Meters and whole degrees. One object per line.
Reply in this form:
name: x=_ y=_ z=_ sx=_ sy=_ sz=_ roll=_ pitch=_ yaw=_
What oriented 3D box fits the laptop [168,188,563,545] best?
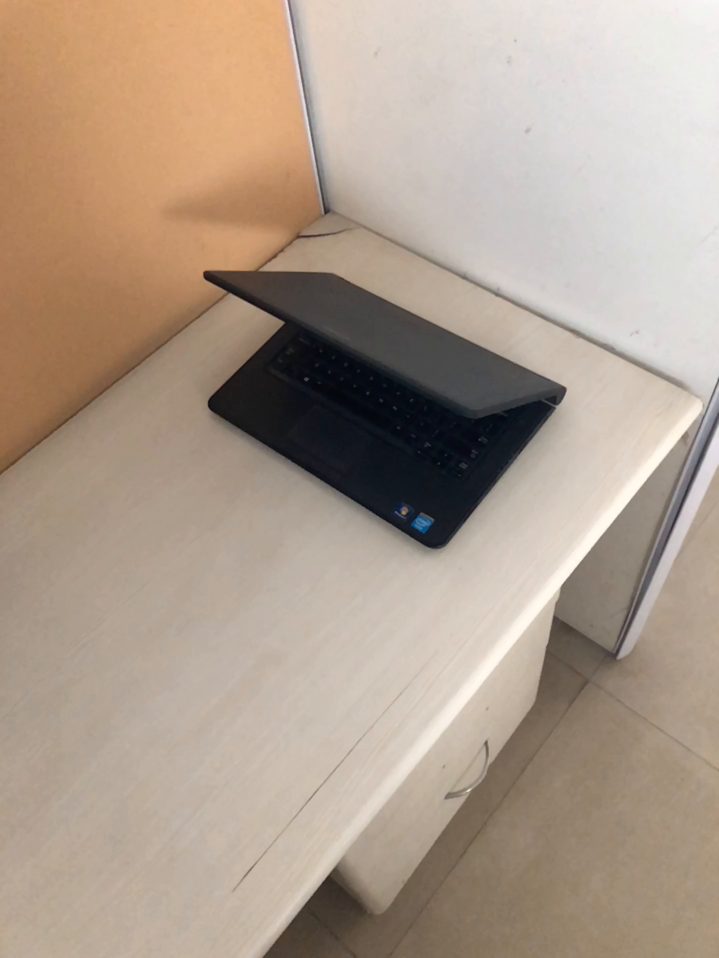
laptop: x=0.008 y=-0.128 z=0.822 sx=0.318 sy=0.154 sz=0.216 roll=31 pitch=64 yaw=25
